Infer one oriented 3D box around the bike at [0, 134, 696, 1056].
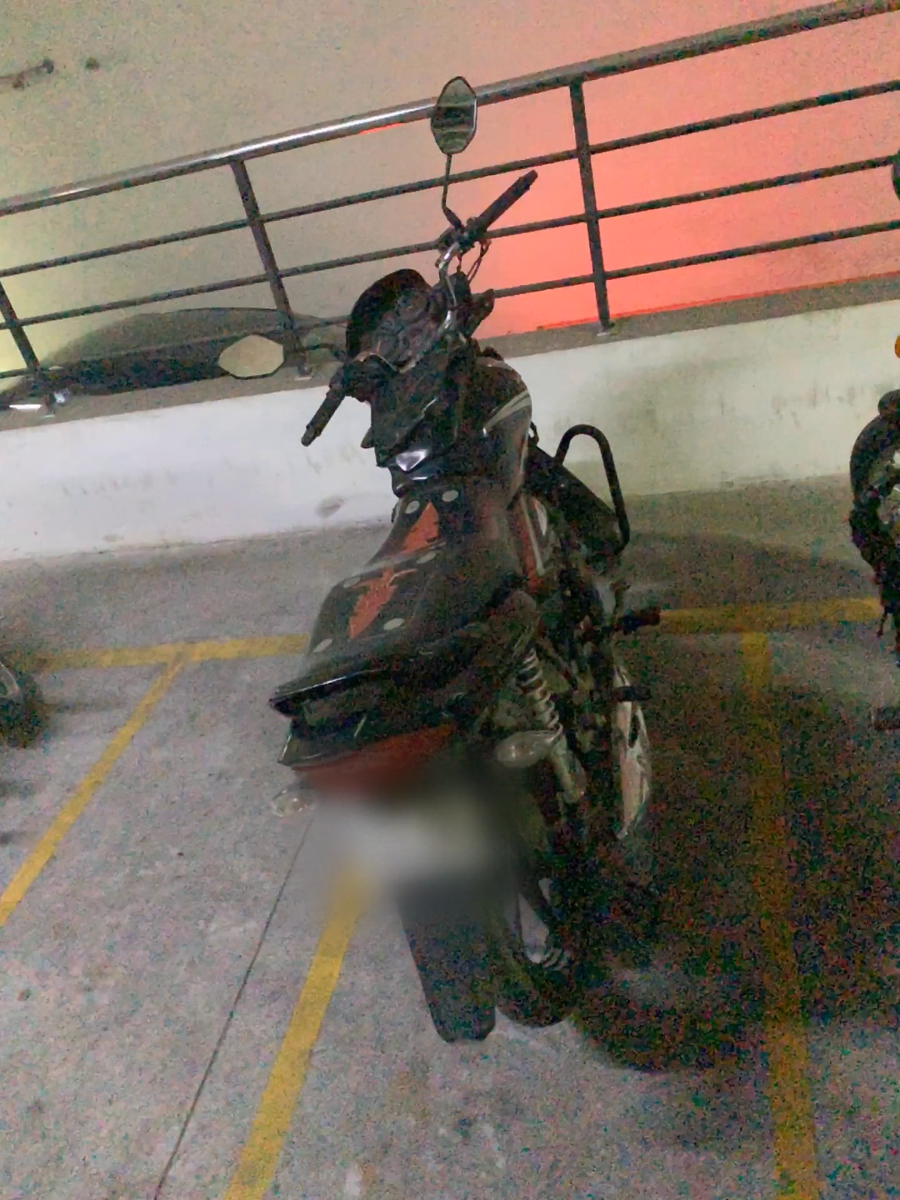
[{"bbox_3d":[-0.134,-0.186,1.908,0.755,1.067,1.685,-11,33,6],"label":"bike"}]
